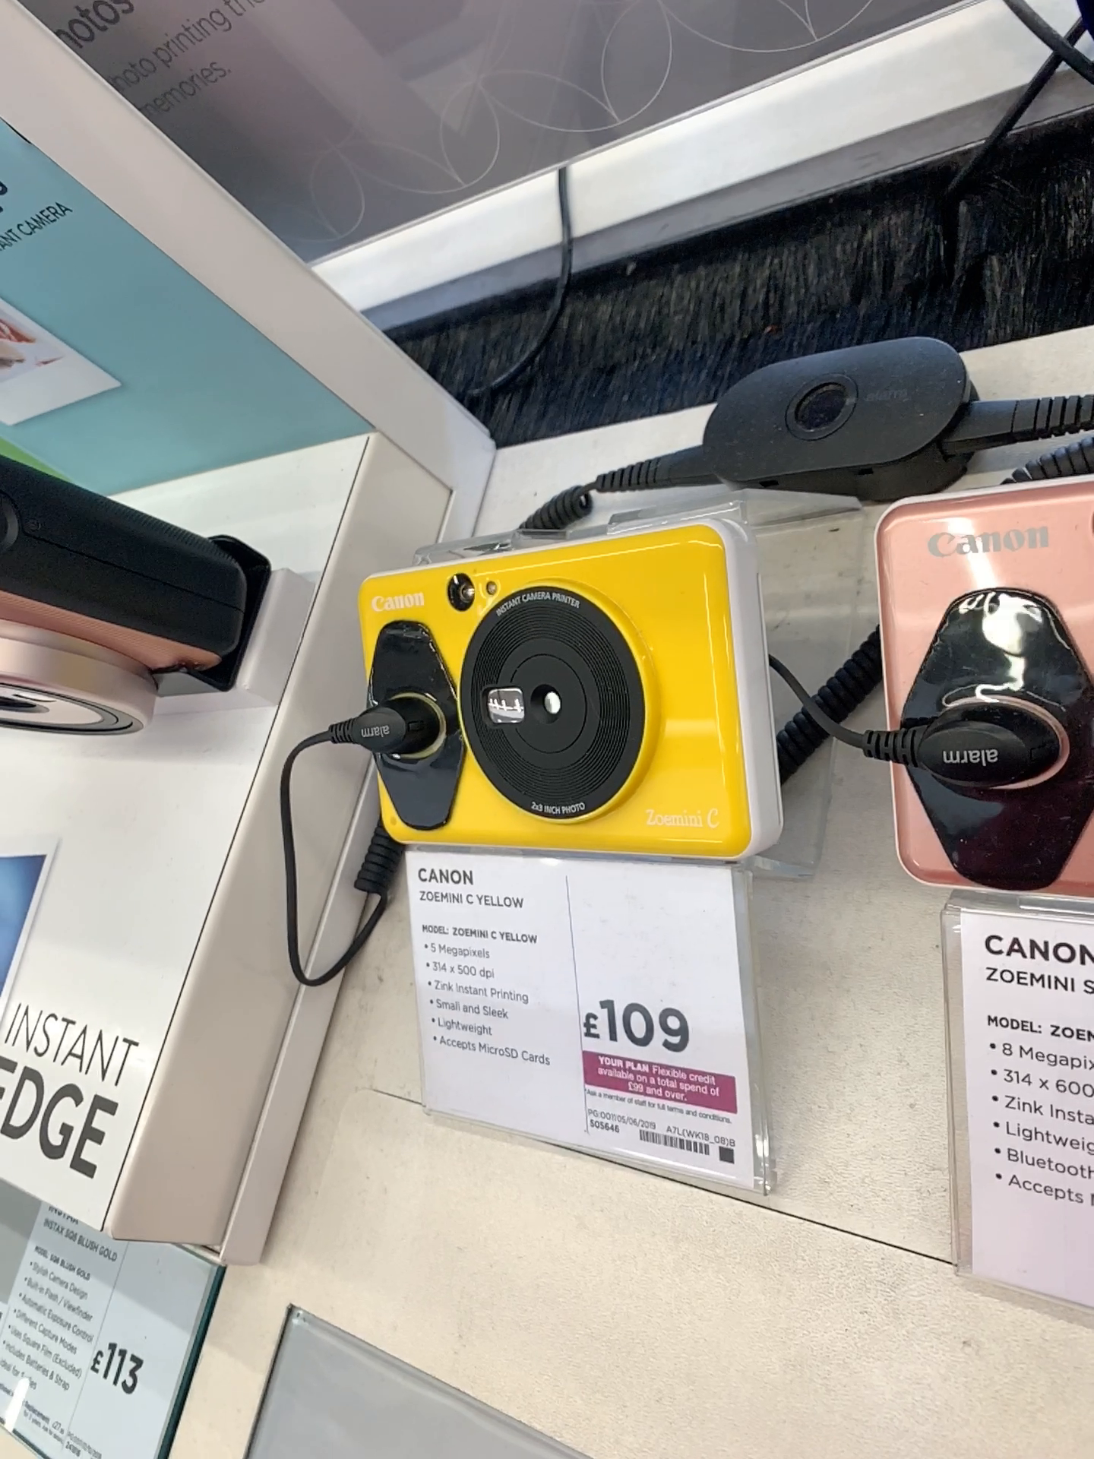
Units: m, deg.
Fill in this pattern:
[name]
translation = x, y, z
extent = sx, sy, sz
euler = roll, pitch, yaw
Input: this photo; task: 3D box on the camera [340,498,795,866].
[camera]
translation = 0.000, -0.009, 0.289
extent = 0.121, 0.020, 0.080
euler = -2, 96, 39
